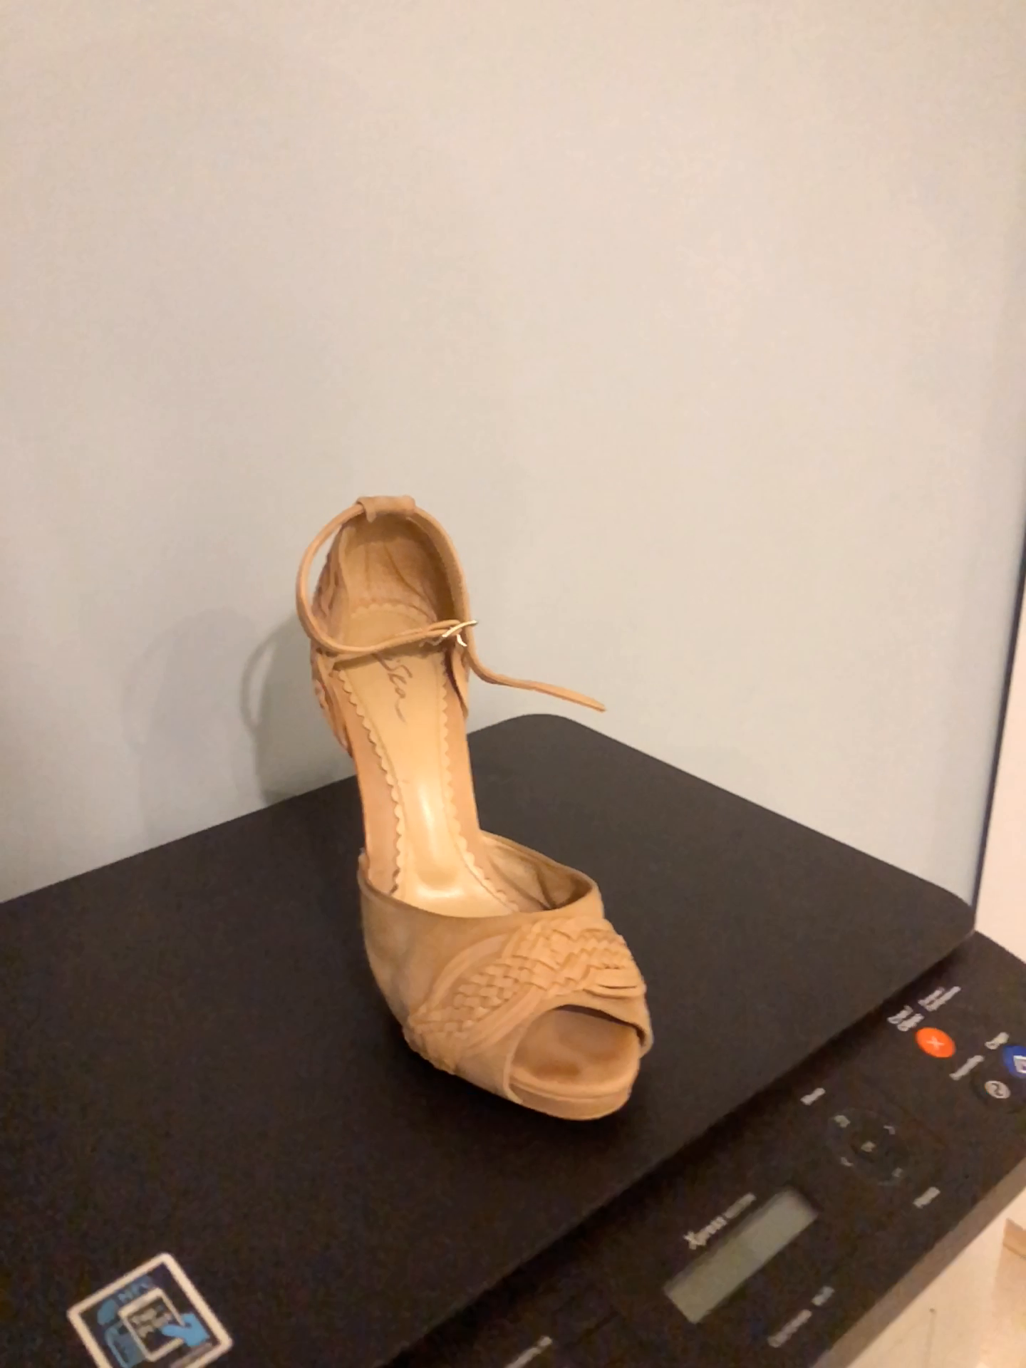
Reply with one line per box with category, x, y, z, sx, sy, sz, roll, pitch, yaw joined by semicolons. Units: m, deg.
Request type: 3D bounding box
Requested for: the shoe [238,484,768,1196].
shoe;-0.019;0.032;0.414;0.090;0.159;0.221;-12;25;-25
